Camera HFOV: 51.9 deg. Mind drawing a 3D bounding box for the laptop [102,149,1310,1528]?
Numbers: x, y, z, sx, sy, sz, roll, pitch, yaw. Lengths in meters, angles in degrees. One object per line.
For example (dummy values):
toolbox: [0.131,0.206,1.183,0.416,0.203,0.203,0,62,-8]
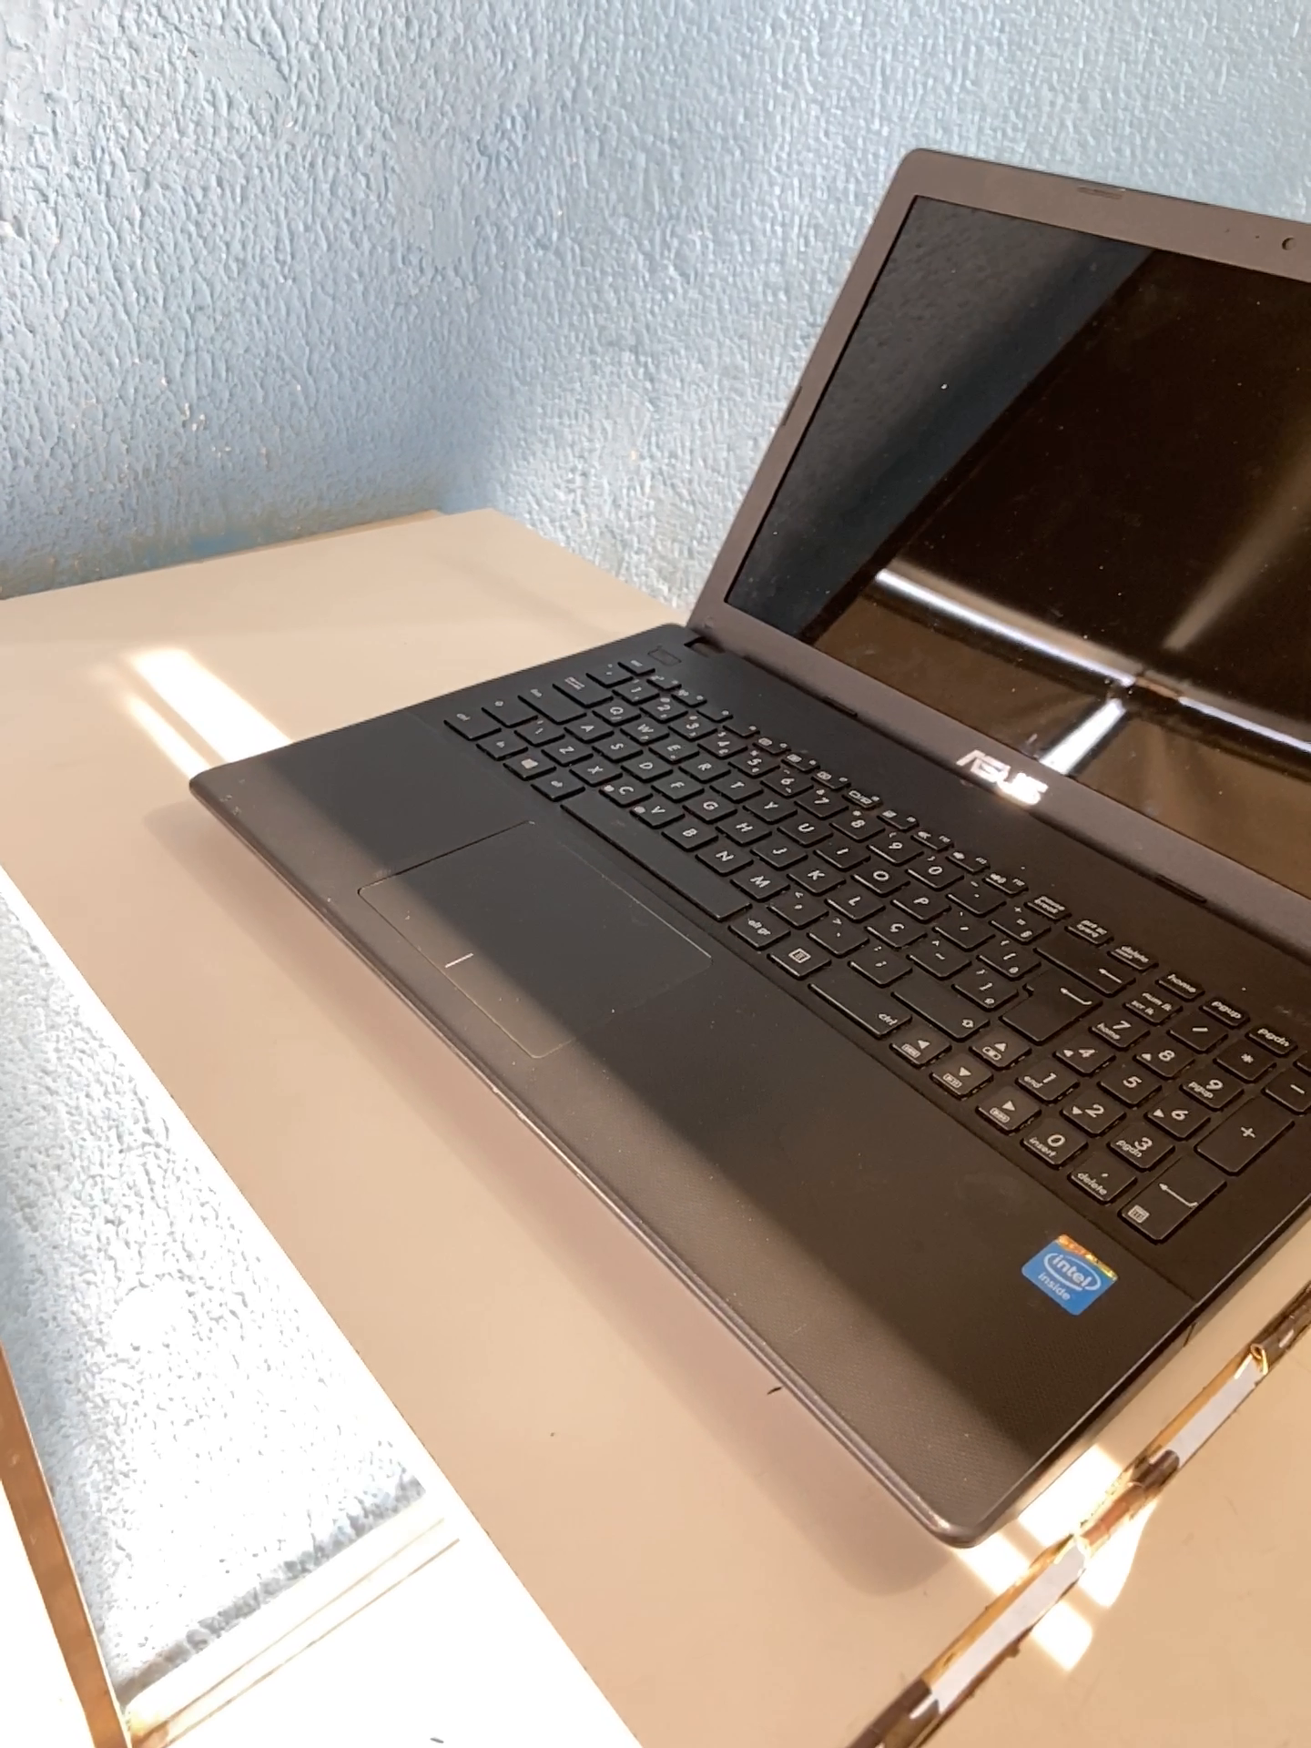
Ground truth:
laptop: [0.087,-0.093,0.437,0.362,0.200,0.368,-23,42,-33]
